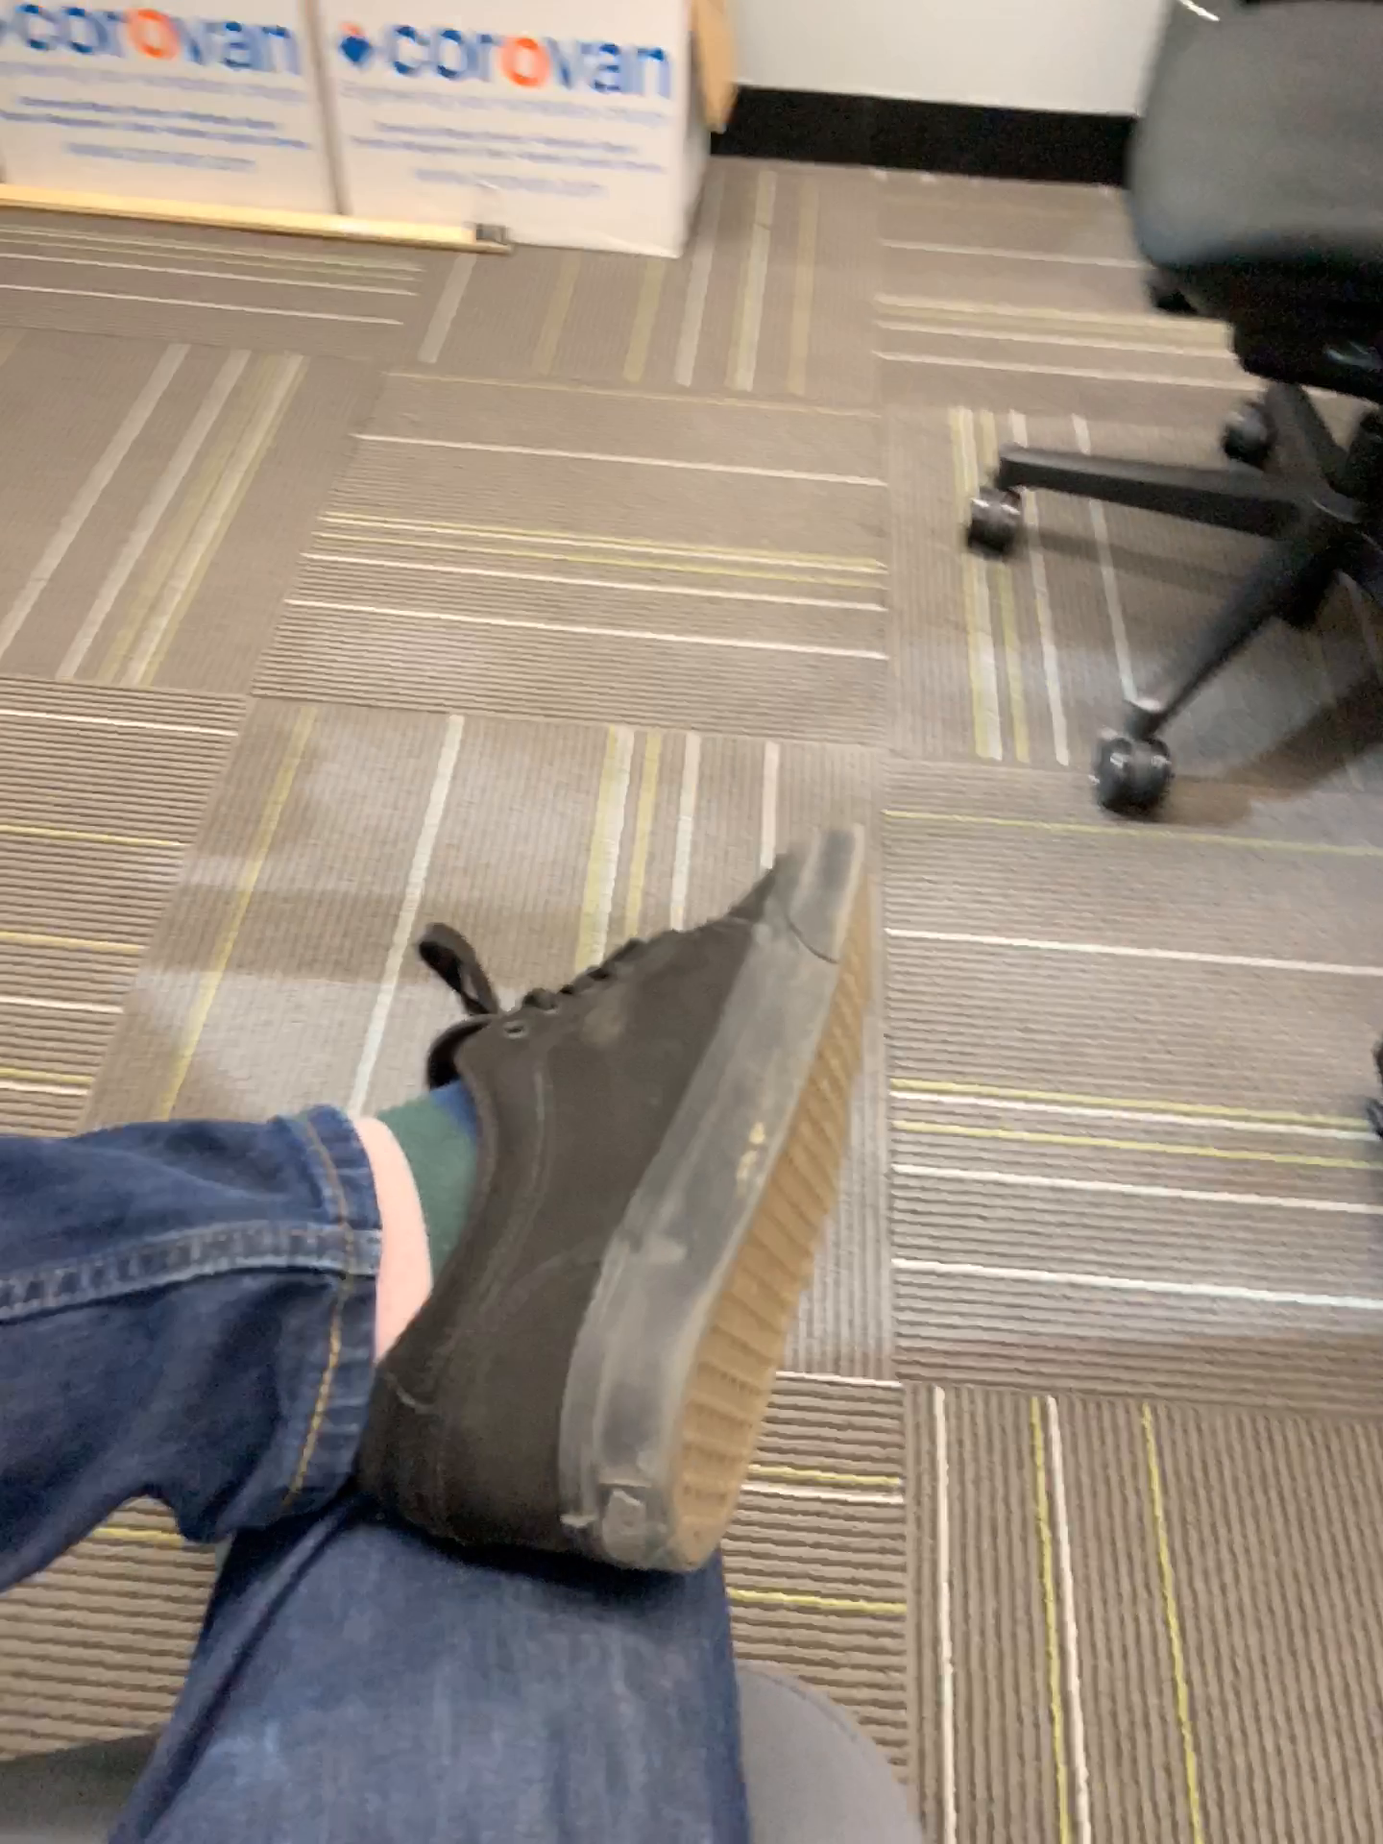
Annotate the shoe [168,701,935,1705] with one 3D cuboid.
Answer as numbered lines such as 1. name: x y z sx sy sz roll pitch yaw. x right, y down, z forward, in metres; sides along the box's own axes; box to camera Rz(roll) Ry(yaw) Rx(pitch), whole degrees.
1. shoe: -0.016 0.068 0.437 0.134 0.120 0.261 9 50 15
